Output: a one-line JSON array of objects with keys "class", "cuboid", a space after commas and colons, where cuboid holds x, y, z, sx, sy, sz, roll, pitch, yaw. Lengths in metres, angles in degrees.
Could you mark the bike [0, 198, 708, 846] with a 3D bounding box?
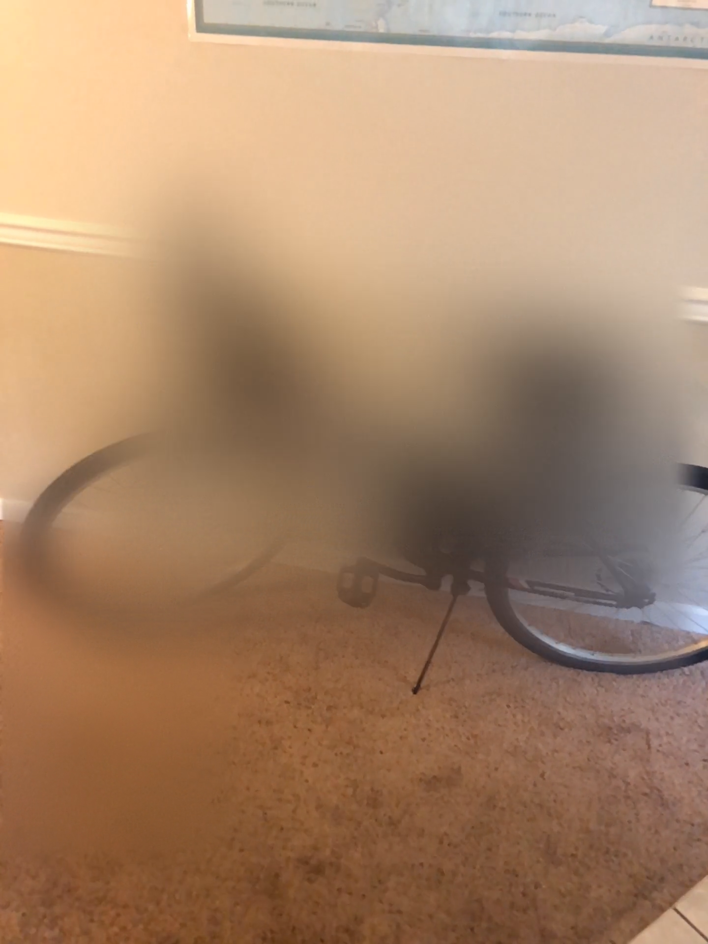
[{"class": "bike", "cuboid": [0.135, 0.106, 1.741, 1.864, 1.177, 0.682, 3, 29, 0]}]
